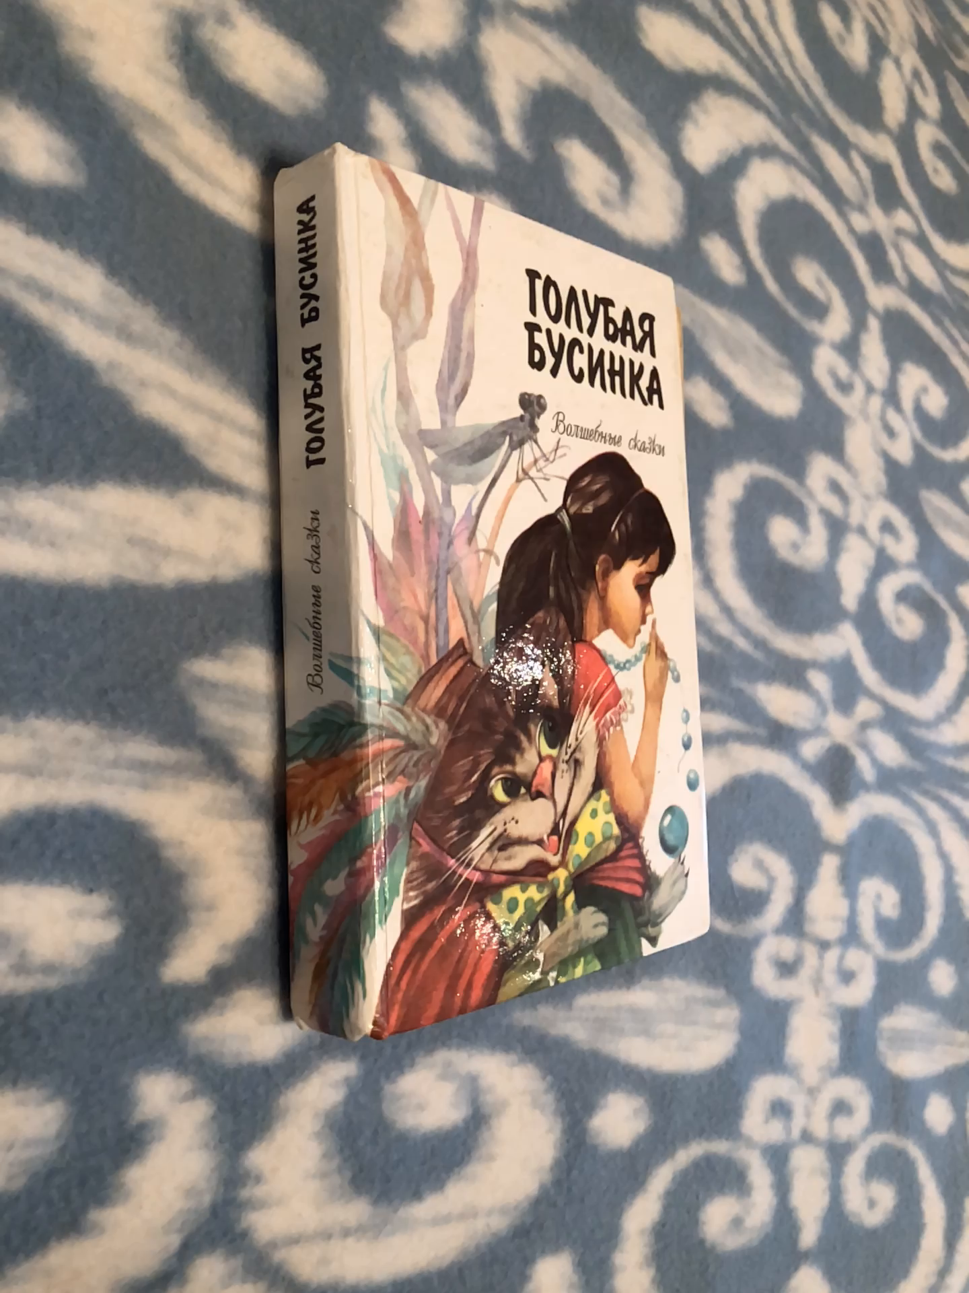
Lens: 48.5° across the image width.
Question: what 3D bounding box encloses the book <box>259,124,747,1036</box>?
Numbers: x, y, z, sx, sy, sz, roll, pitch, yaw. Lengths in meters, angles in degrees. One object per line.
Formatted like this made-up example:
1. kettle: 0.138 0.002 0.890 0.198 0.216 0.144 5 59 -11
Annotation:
1. book: 0.013 -0.016 0.307 0.146 0.040 0.206 0 87 -45
